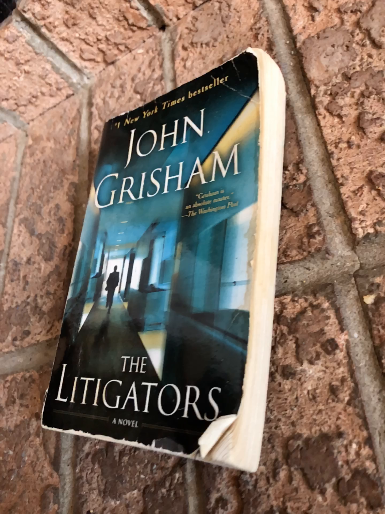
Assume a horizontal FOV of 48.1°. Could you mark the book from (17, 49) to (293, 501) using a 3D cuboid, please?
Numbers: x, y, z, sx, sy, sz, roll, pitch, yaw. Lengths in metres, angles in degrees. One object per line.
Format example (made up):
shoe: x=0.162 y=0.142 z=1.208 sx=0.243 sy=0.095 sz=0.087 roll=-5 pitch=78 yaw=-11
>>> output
book: x=-0.020 y=0.003 z=0.236 sx=0.136 sy=0.033 sz=0.199 roll=-7 pitch=67 yaw=38
